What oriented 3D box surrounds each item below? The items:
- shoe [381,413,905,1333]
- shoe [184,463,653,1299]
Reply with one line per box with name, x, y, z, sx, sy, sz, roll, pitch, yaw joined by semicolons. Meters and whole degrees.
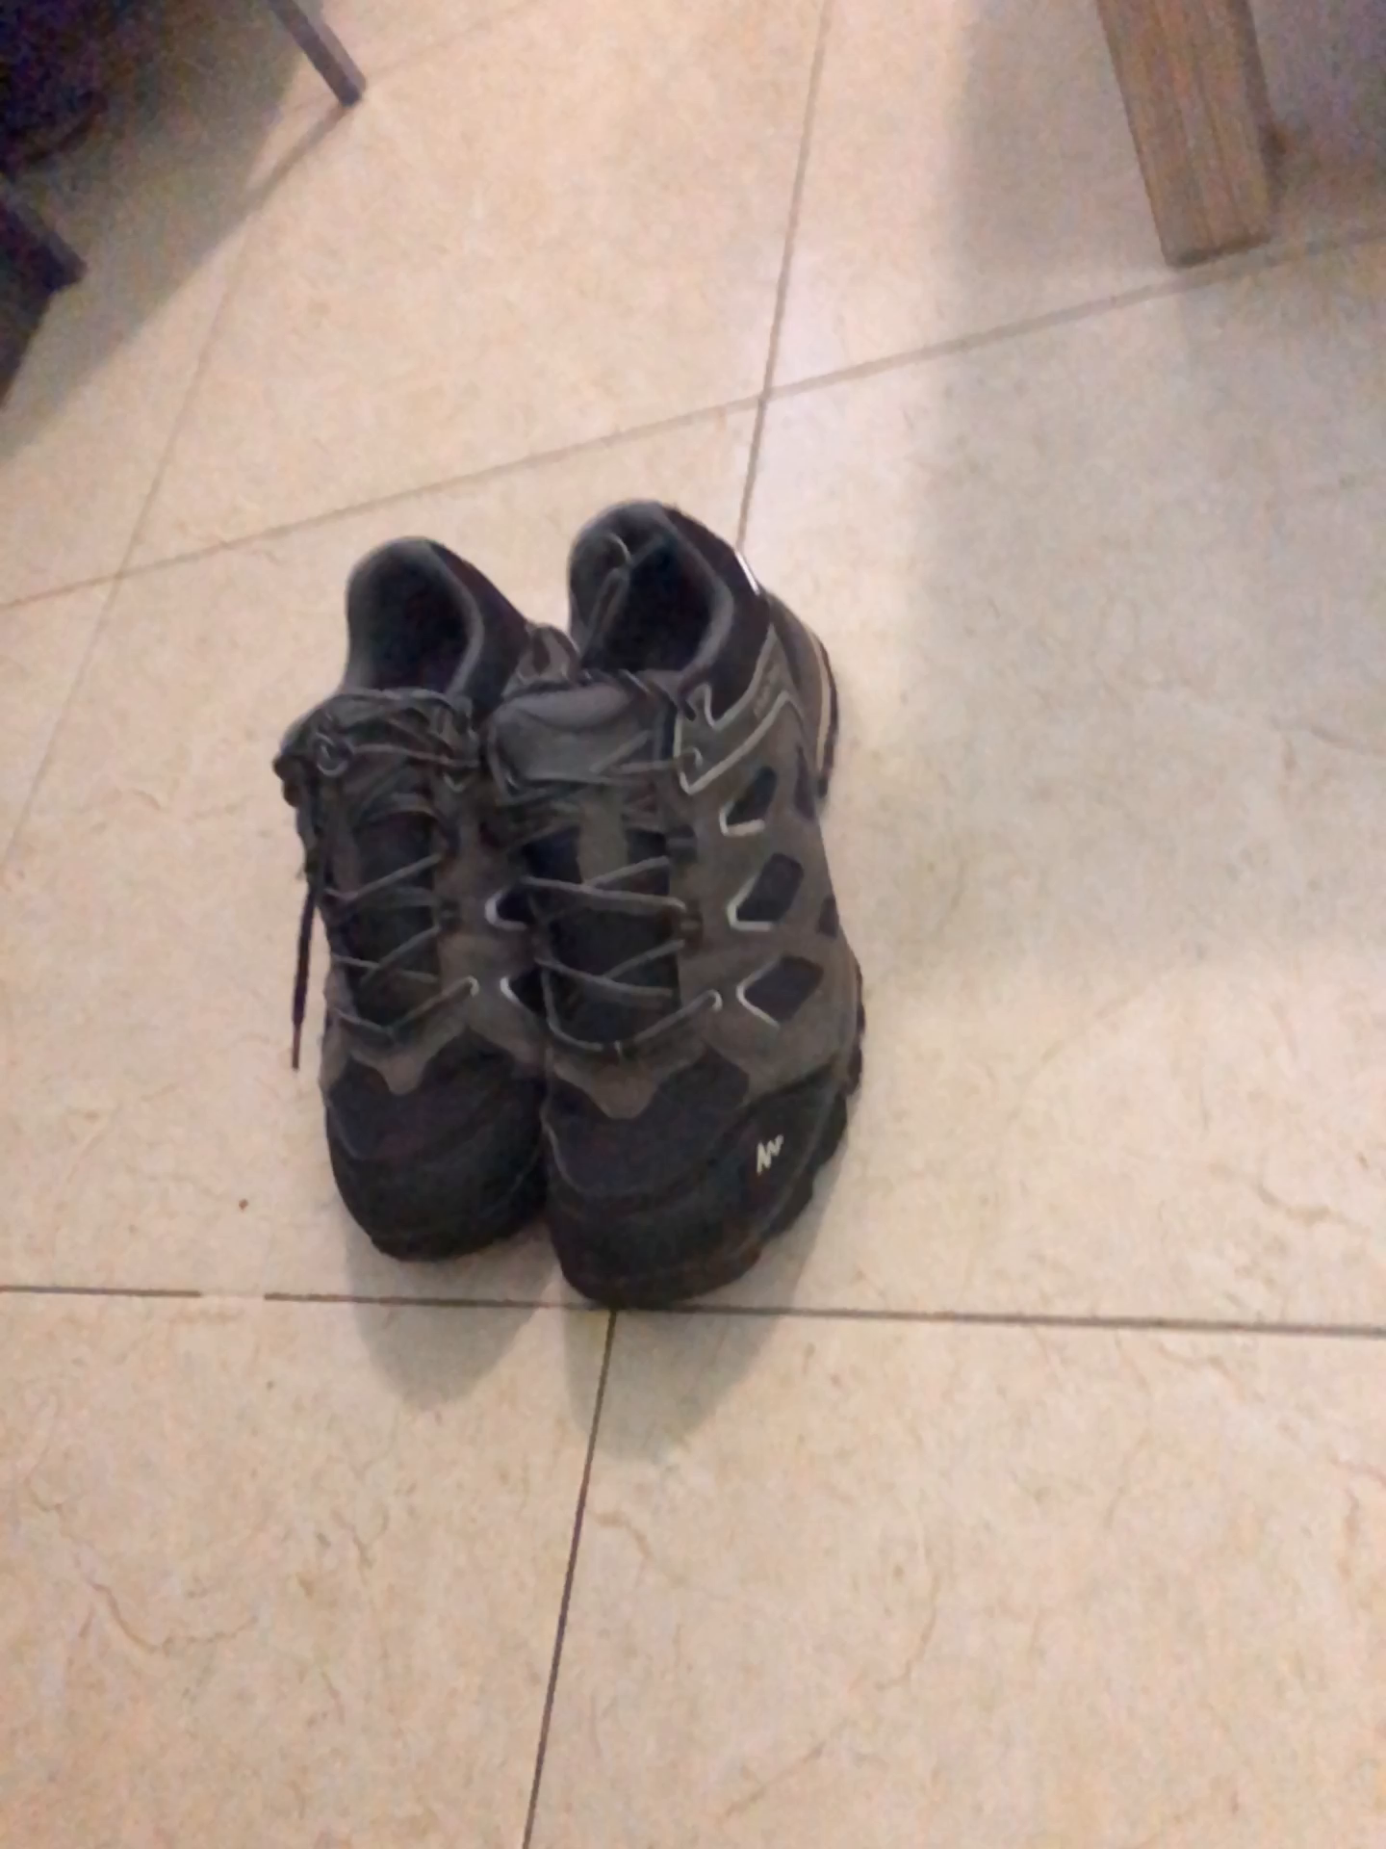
shoe;-0.003;-0.021;0.565;0.120;0.110;0.311;-9;58;26
shoe;-0.097;-0.022;0.630;0.120;0.110;0.311;-15;56;23
